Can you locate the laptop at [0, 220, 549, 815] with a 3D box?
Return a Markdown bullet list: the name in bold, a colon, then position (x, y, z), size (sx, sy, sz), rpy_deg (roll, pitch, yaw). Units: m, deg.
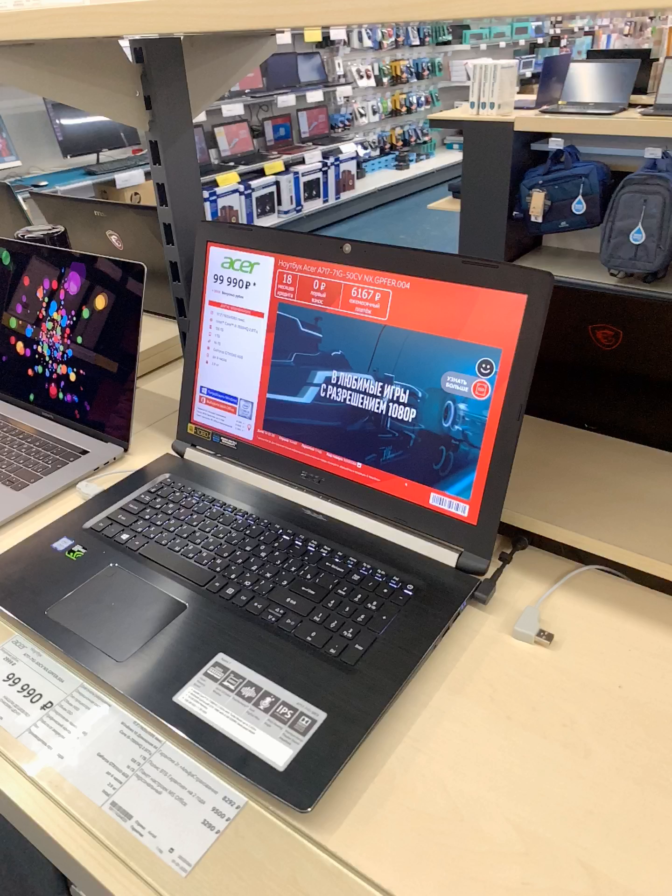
- **laptop**: position (-0.088, -0.010, 0.607), size (0.407, 0.248, 0.363), rpy_deg (19, 37, 30)
